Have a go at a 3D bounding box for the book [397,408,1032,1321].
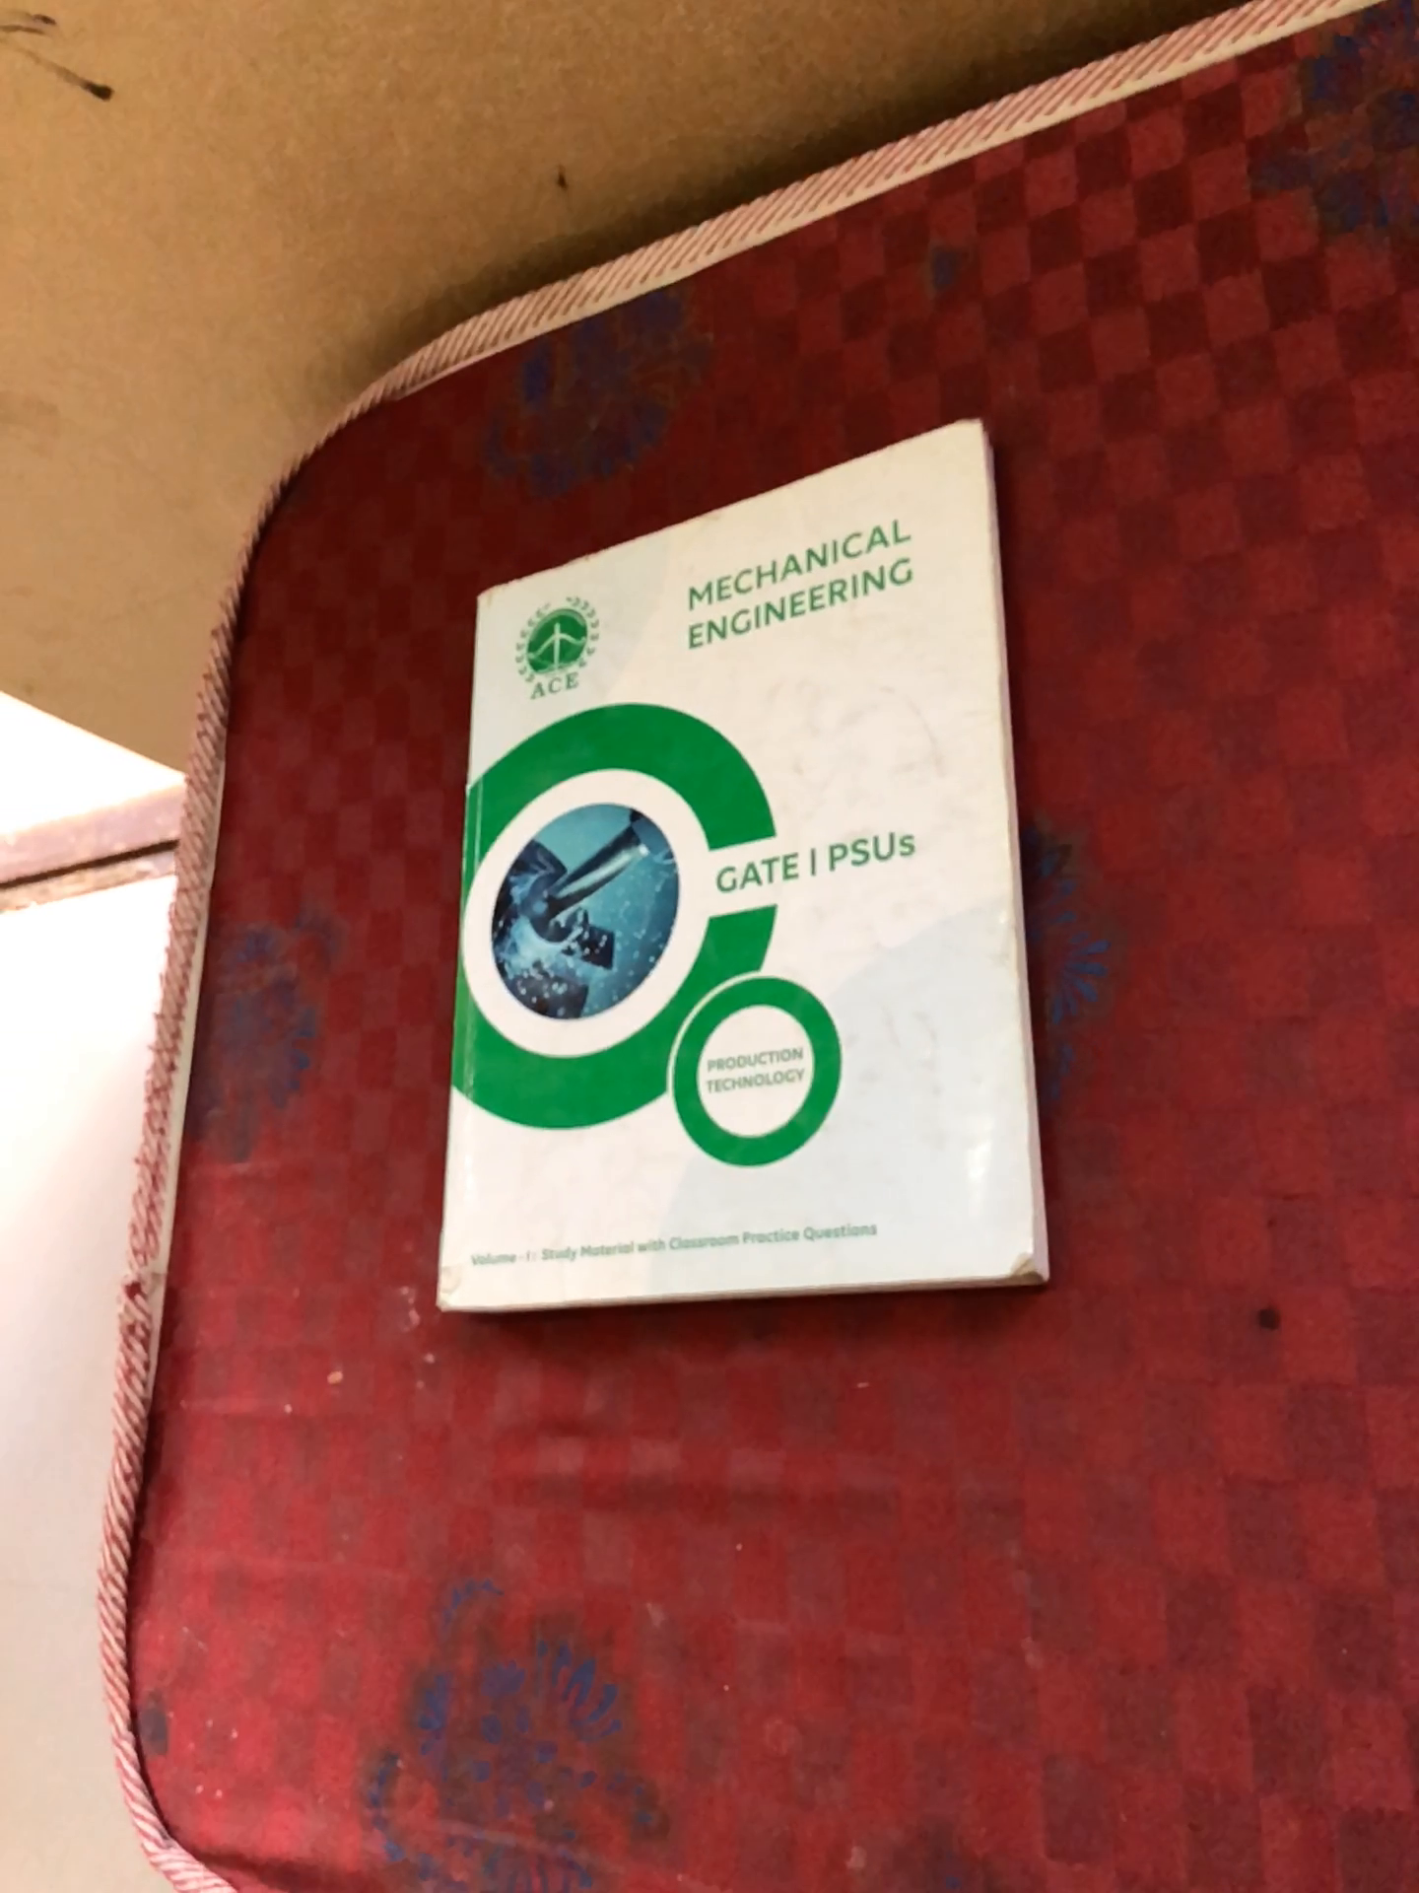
[{"bbox_3d":[-0.005,-0.022,0.534,0.211,0.030,0.280,-10,68,29],"label":"book"}]
